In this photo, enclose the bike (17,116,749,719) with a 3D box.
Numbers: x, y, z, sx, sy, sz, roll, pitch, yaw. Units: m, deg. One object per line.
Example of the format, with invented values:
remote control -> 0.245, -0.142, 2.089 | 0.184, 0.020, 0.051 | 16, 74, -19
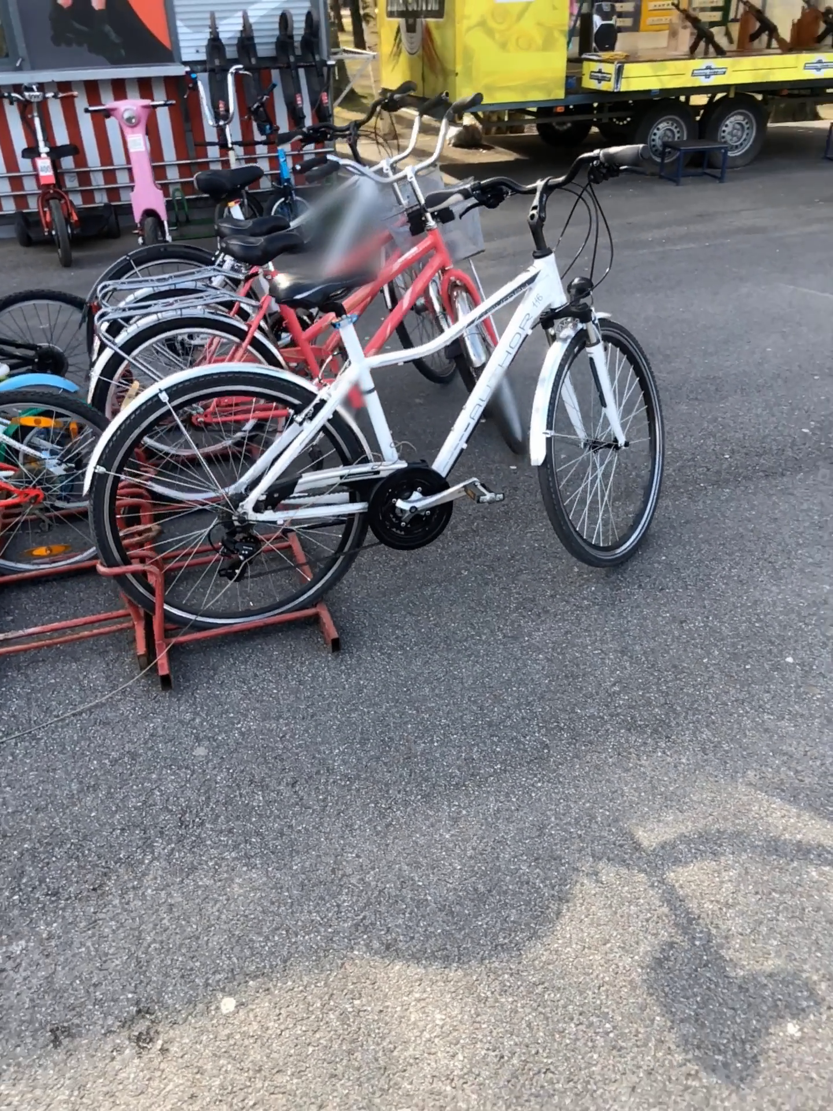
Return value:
bike -> -0.042, -0.467, 2.456 | 1.698, 1.112, 0.648 | -16, 34, -21
